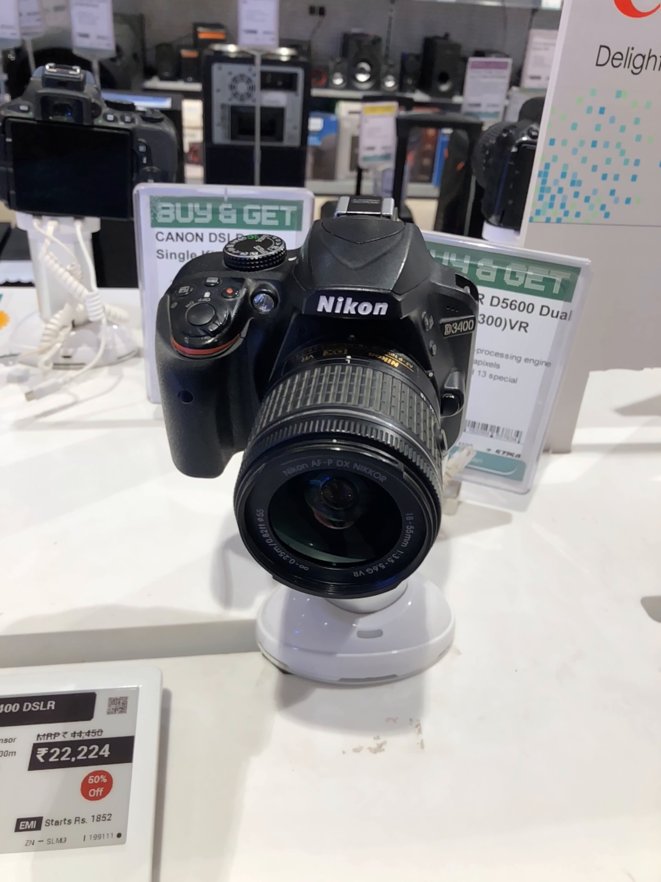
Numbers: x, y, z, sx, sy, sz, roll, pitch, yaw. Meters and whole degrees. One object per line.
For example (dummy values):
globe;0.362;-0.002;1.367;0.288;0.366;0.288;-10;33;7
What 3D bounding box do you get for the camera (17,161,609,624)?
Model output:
camera;-0.004;-0.024;0.235;0.130;0.089;0.121;5;33;0
